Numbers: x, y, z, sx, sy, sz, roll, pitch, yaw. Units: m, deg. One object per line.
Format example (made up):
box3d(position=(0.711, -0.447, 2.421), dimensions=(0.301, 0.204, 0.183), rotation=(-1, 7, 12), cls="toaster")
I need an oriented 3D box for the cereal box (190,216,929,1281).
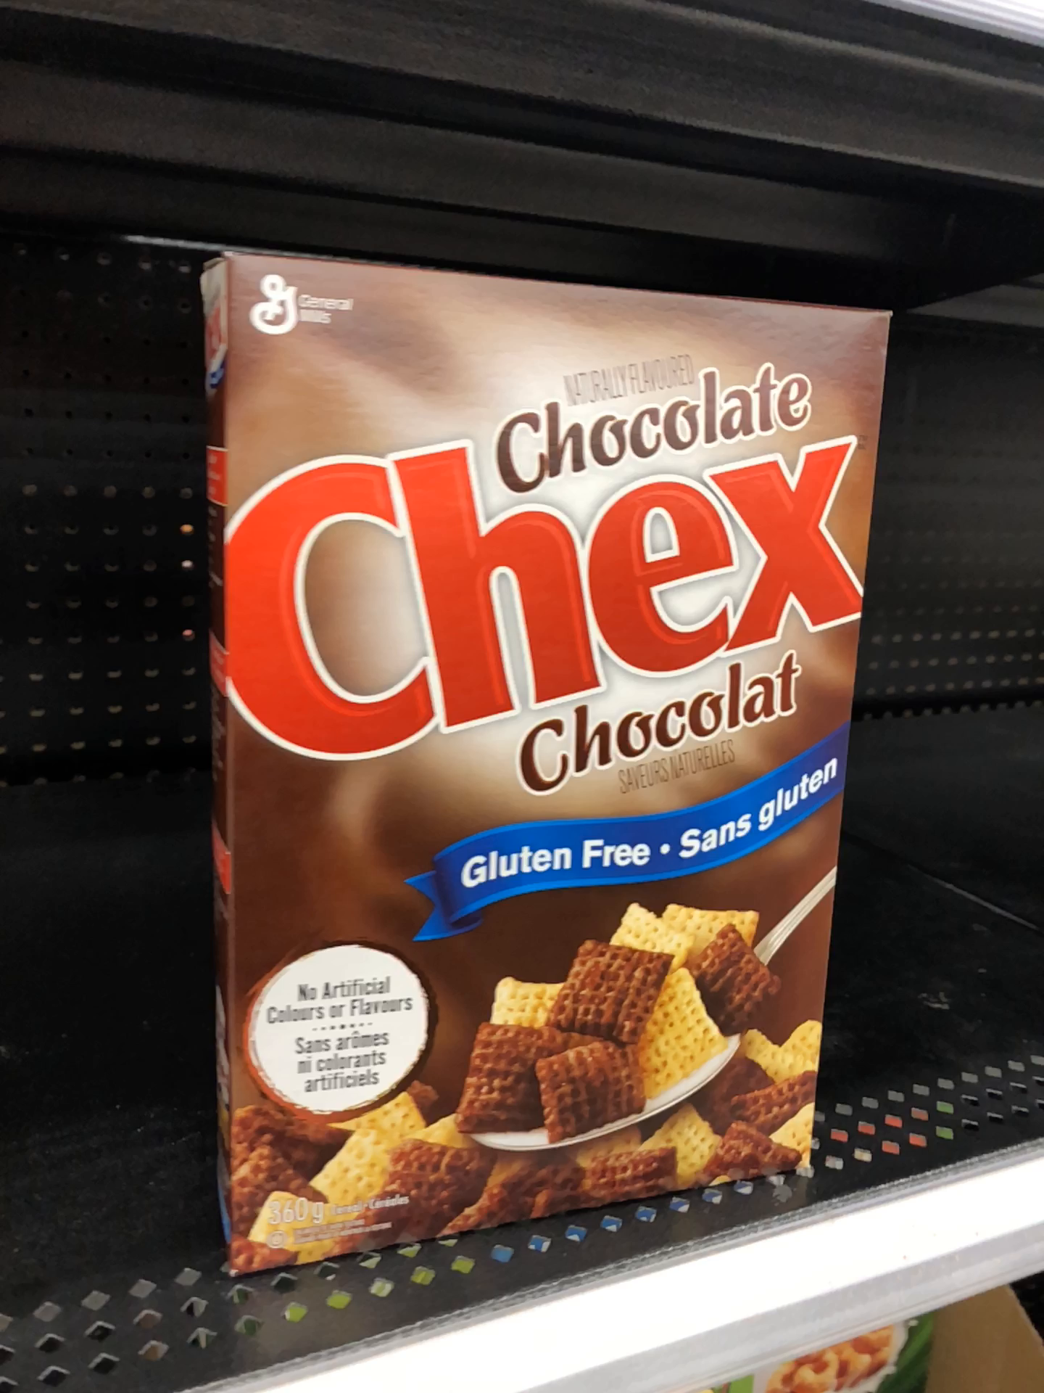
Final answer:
box3d(position=(0.007, 0.018, 0.349), dimensions=(0.200, 0.279, 0.050), rotation=(-1, 12, -19), cls="cereal box")
